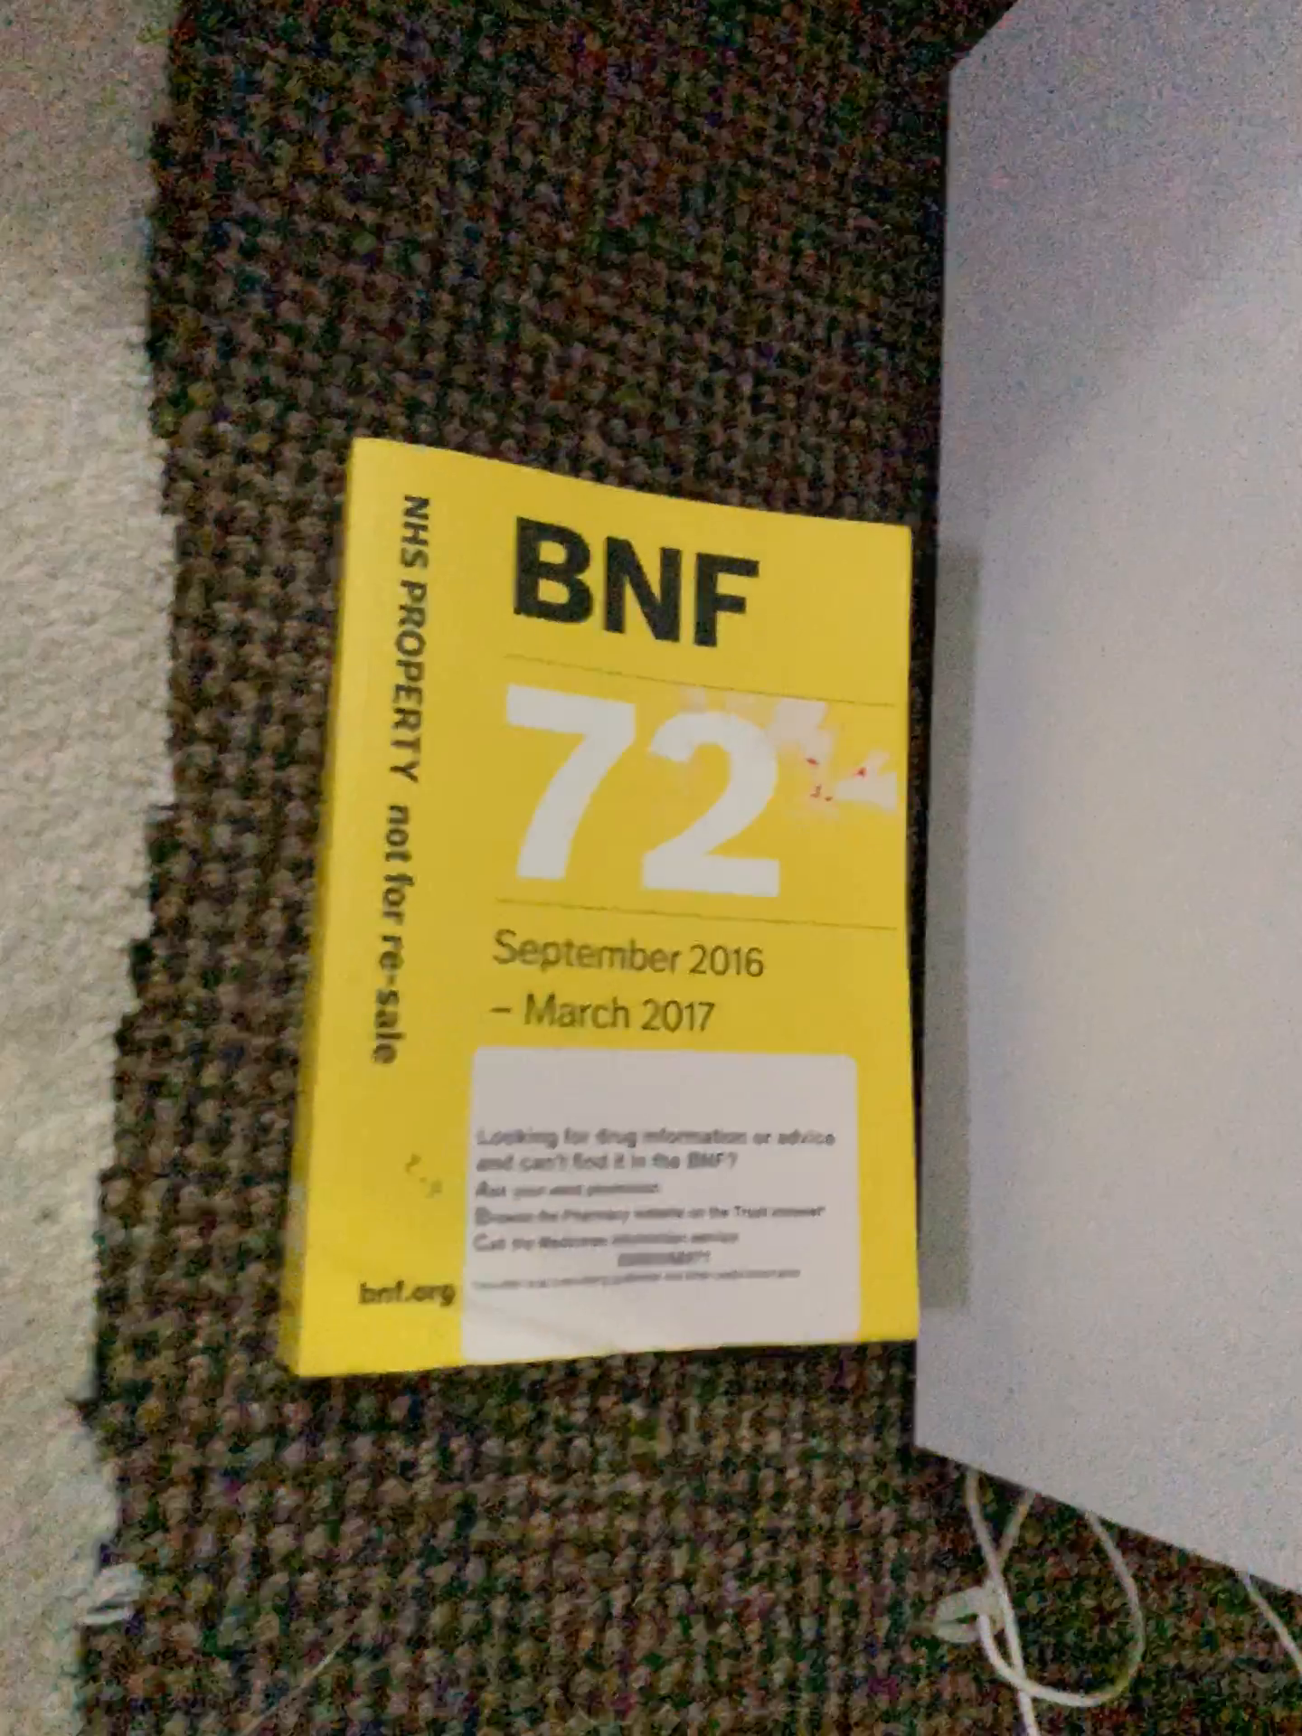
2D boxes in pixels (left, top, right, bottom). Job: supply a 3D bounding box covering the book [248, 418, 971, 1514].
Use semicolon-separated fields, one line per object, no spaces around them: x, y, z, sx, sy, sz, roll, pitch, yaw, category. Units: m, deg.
-0.005;0.022;0.324;0.161;0.050;0.220;5;79;-26;book
